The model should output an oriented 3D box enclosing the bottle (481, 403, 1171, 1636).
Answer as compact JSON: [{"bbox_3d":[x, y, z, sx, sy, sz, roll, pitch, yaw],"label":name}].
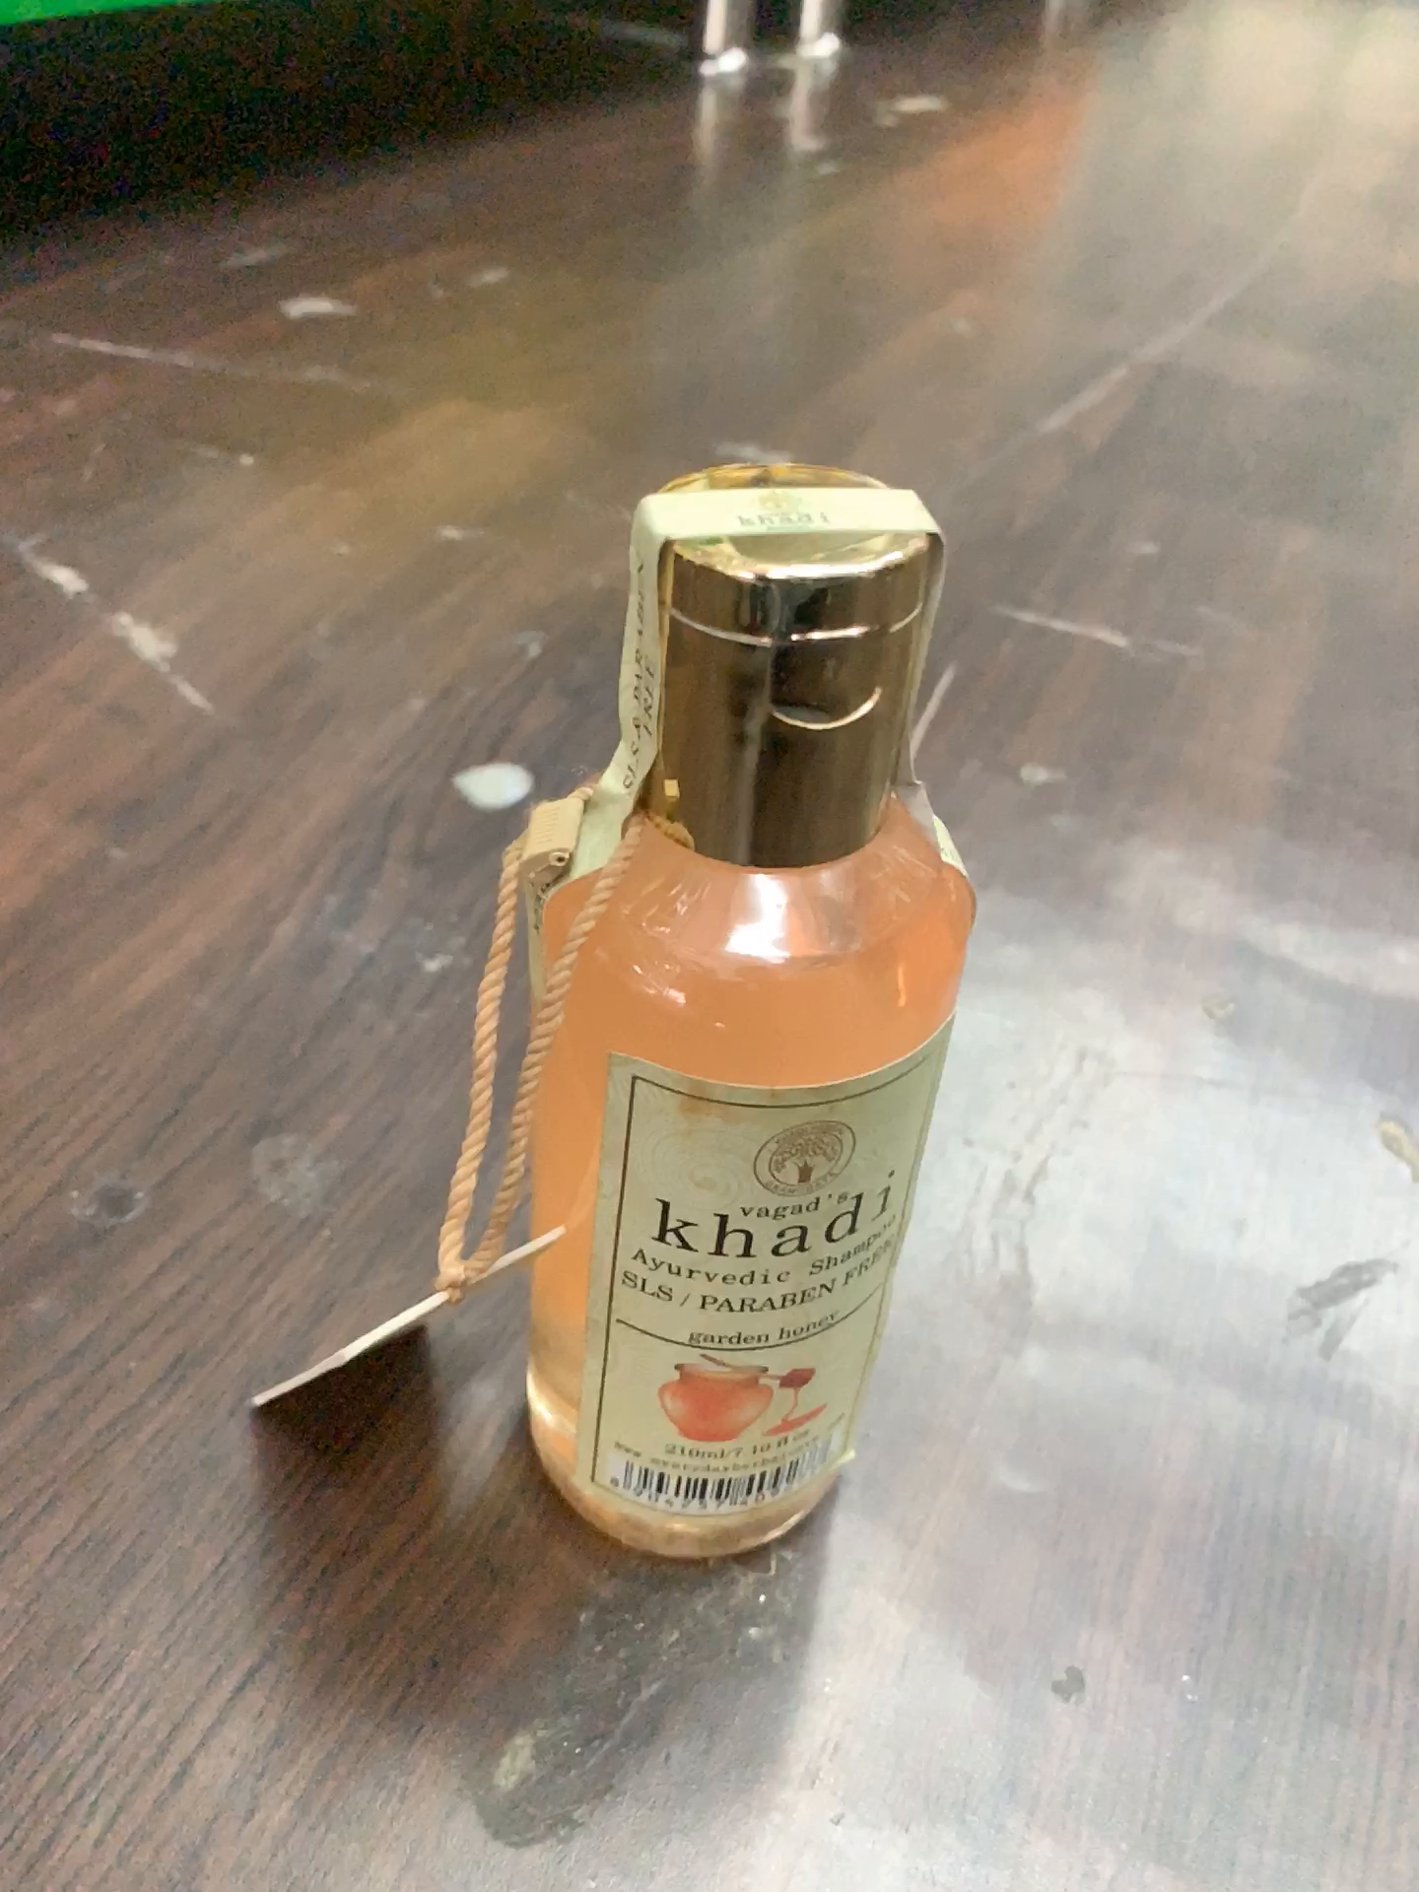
[{"bbox_3d":[0.001,0.018,0.181,0.050,0.149,0.050,4,39,-3],"label":"bottle"}]
